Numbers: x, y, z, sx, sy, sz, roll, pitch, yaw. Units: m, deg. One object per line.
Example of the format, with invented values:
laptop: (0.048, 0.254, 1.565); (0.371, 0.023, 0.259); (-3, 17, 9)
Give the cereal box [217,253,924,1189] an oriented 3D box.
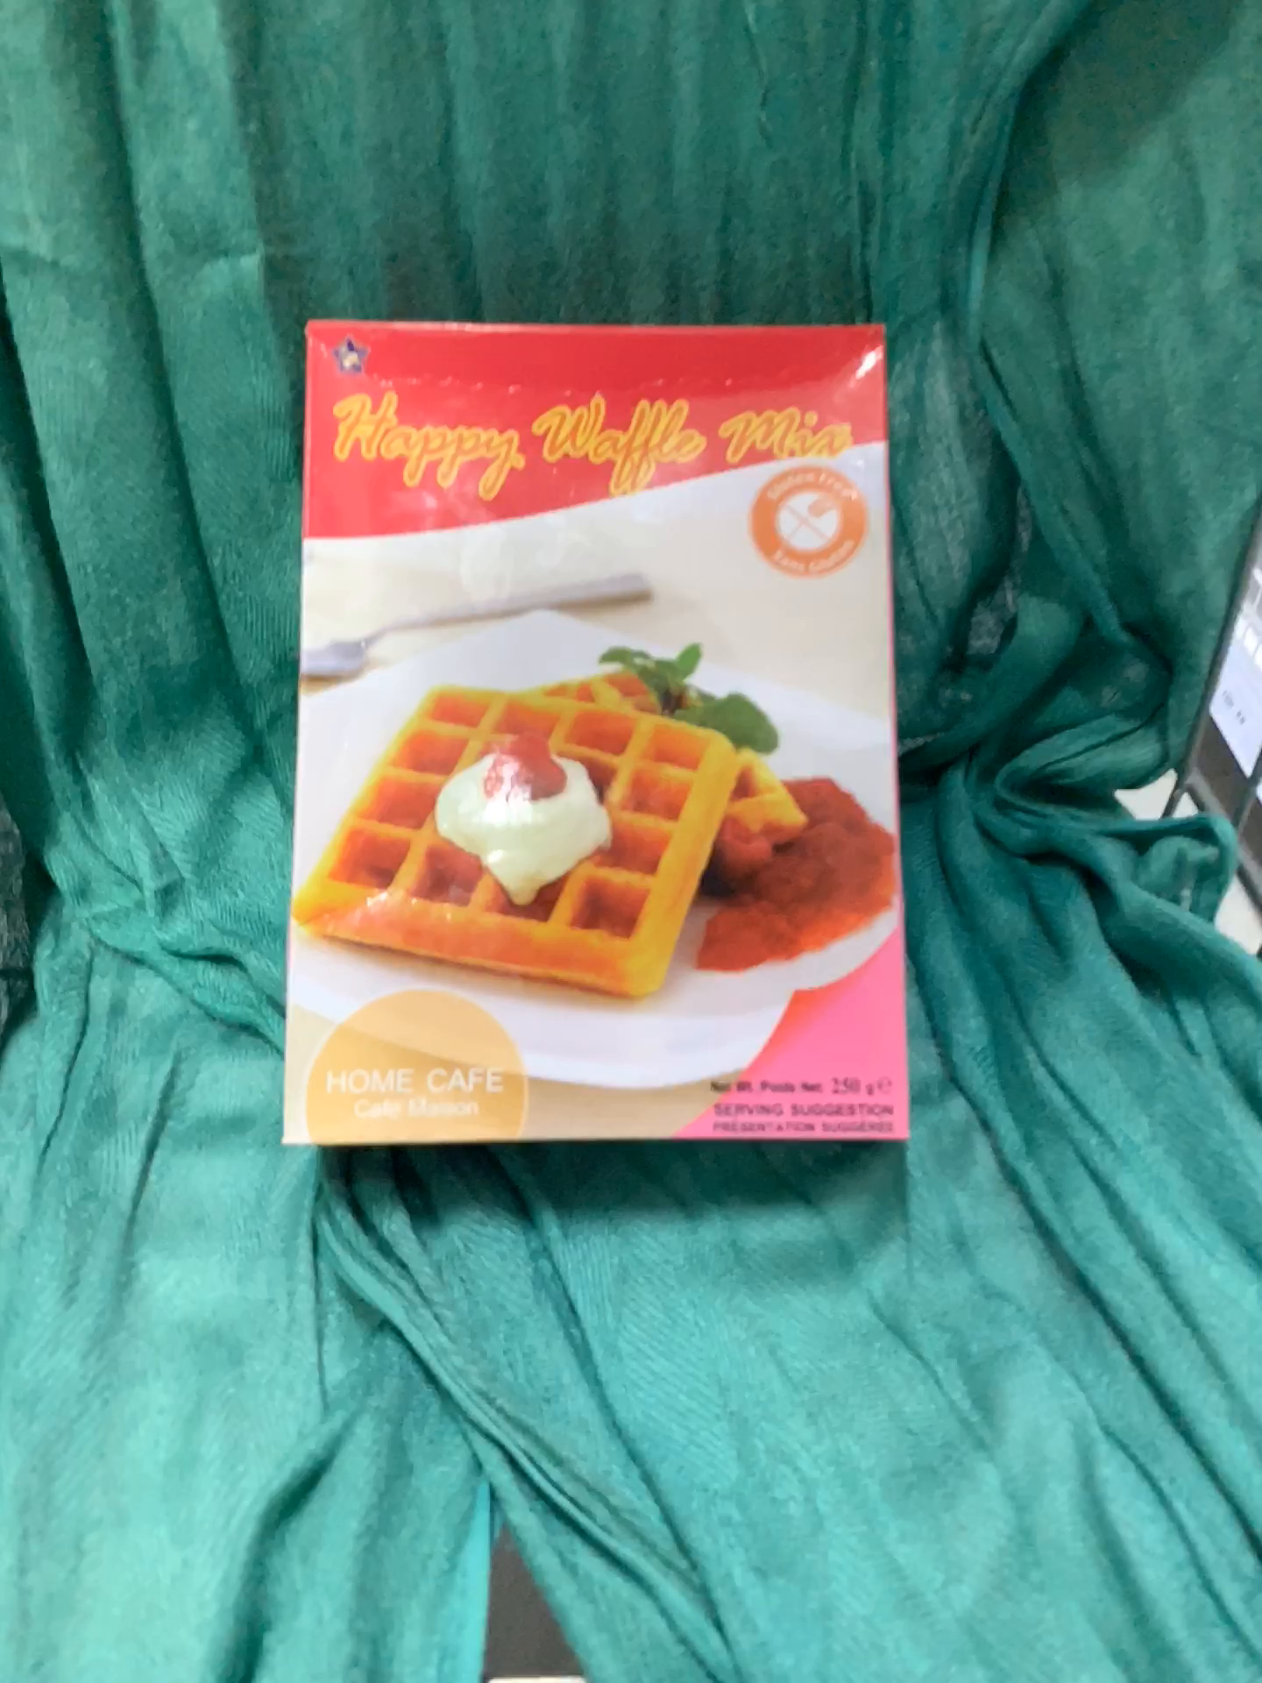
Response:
cereal box: (-0.012, -0.024, 0.270); (0.130, 0.180, 0.050); (0, -6, 0)
